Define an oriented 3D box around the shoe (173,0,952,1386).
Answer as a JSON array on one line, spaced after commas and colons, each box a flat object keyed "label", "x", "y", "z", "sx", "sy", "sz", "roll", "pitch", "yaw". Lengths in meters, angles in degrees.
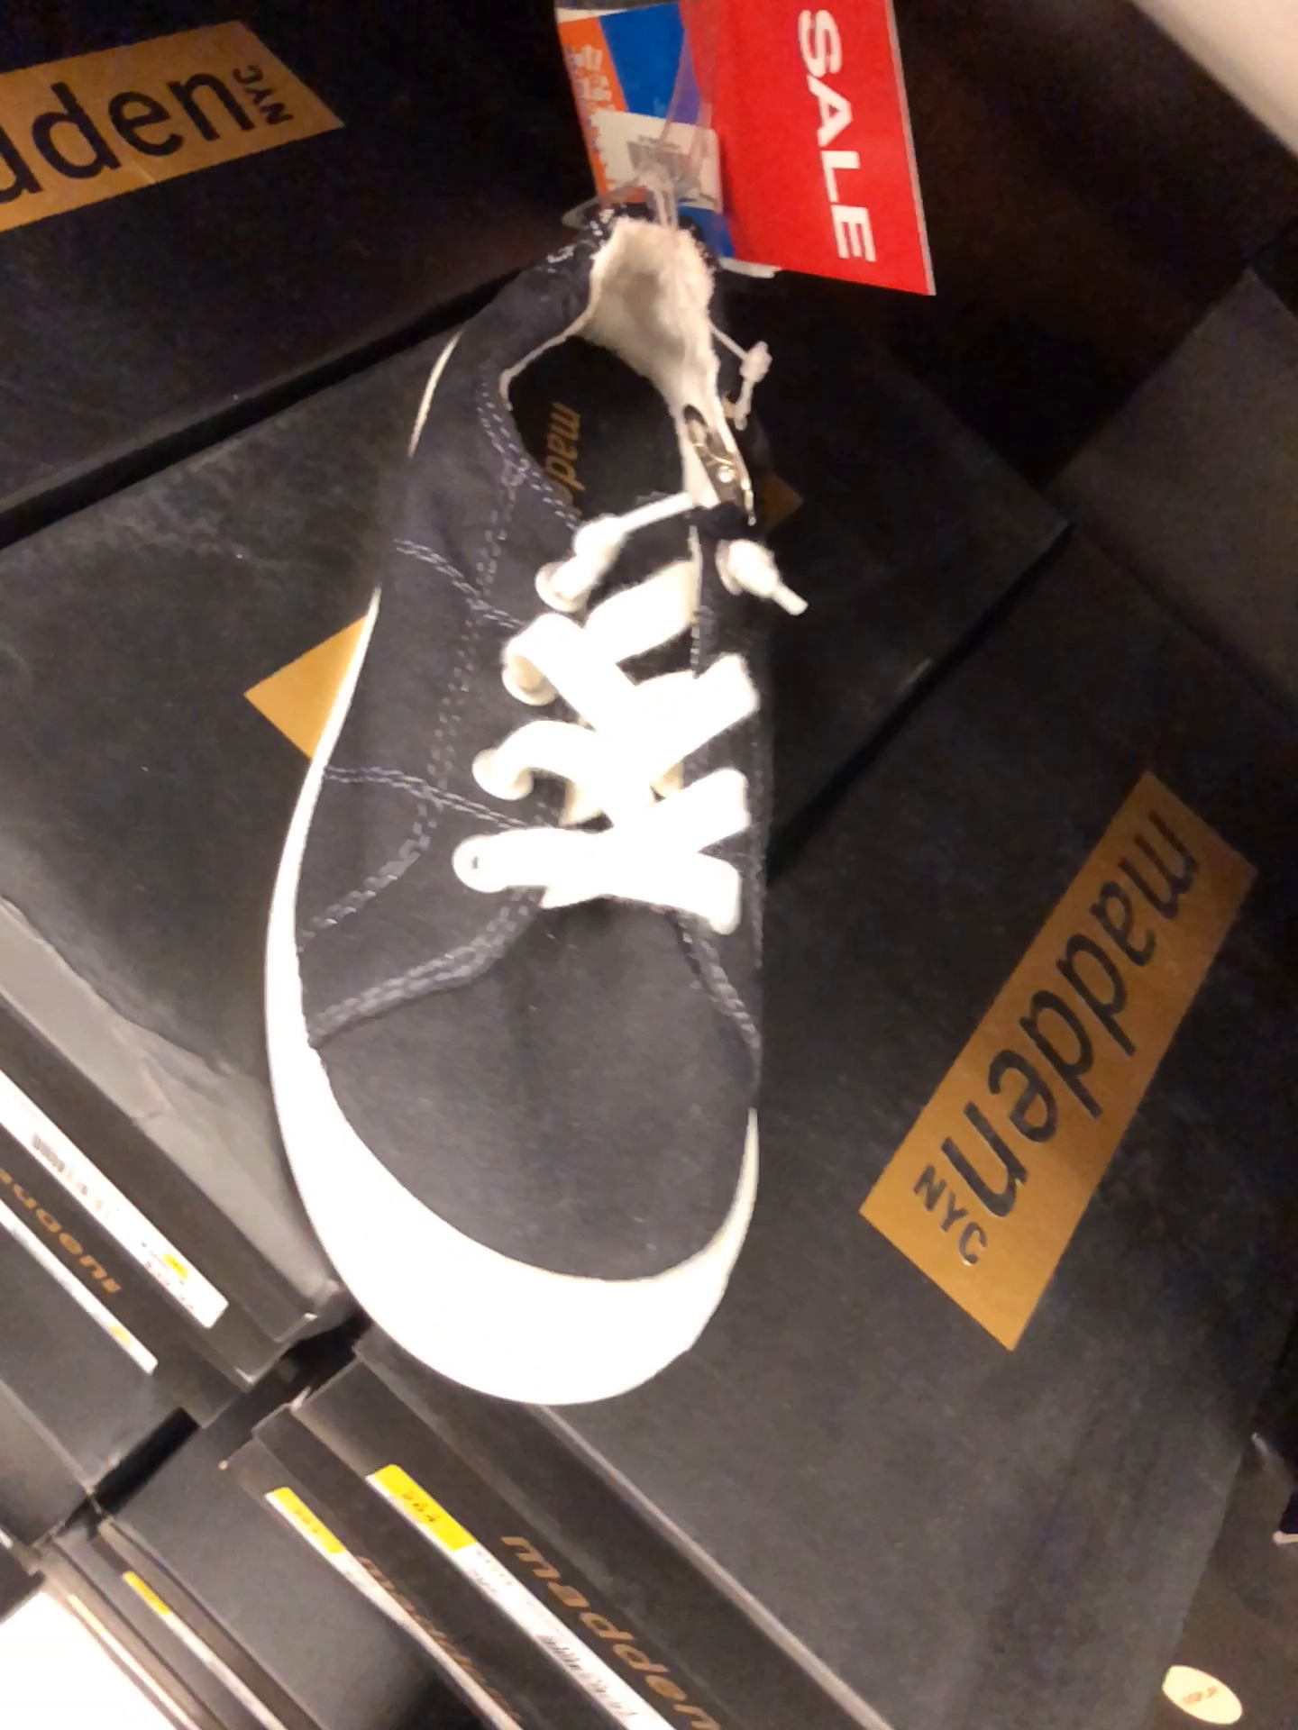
[{"label": "shoe", "x": -0.020, "y": -0.041, "z": 0.255, "sx": 0.080, "sy": 0.082, "sz": 0.235, "roll": 12, "pitch": 57, "yaw": -22}]
